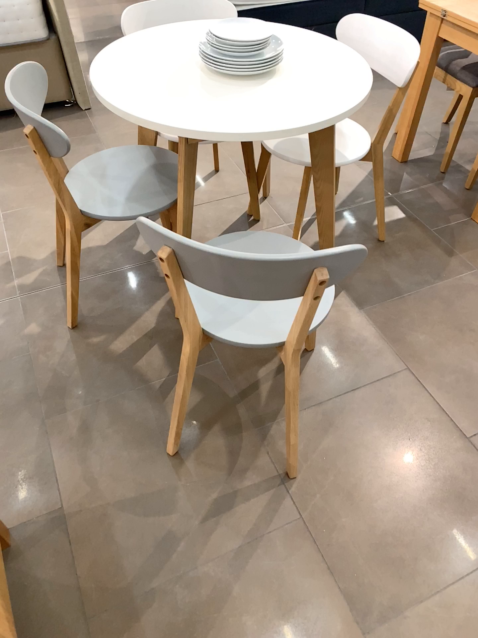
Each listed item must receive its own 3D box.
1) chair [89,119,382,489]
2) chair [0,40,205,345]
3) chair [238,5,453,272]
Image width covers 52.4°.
[{"bbox_3d":[0.023,-0.008,1.320,0.519,0.799,0.535,8,47,6],"label":"chair"},{"bbox_3d":[-0.479,-0.430,1.719,0.541,0.799,0.523,-17,50,-17],"label":"chair"},{"bbox_3d":[0.349,-0.720,1.982,0.541,0.799,0.523,-16,49,-16],"label":"chair"}]
